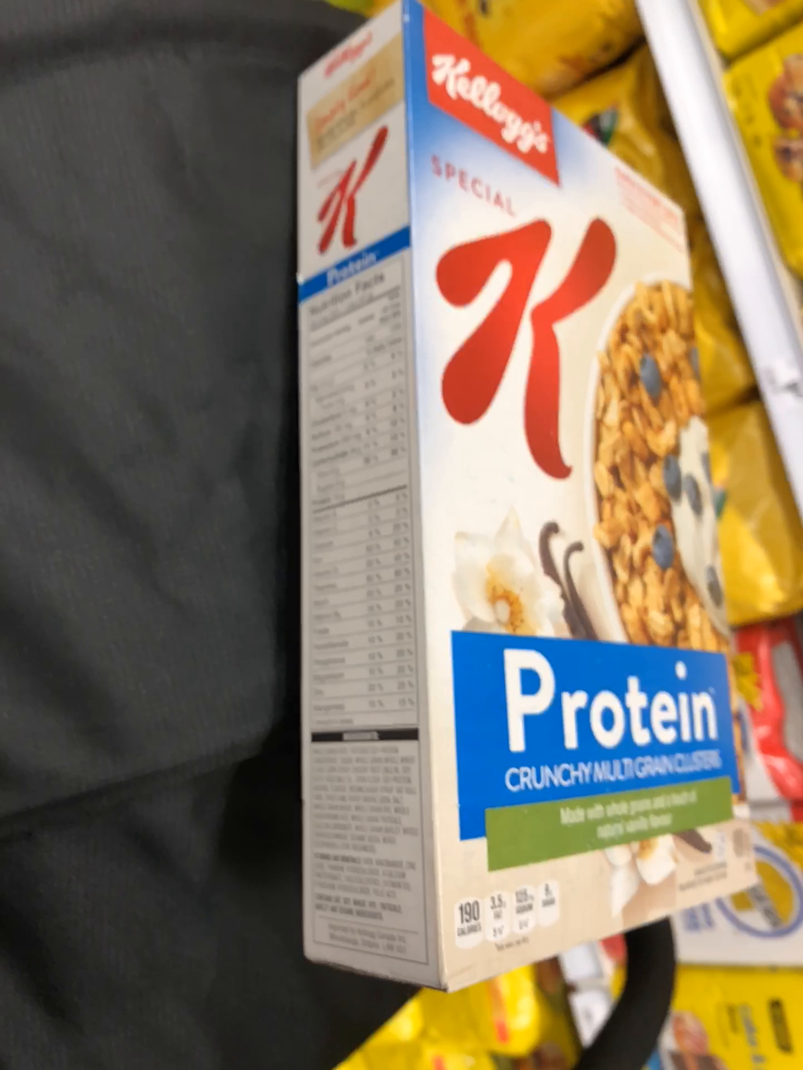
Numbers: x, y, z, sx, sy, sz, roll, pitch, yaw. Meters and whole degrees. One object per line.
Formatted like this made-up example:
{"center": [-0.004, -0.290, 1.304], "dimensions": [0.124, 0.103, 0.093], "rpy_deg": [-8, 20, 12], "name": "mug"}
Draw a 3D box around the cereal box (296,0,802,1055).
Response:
{"center": [0.058, -0.009, 0.297], "dimensions": [0.191, 0.050, 0.270], "rpy_deg": [11, 72, -44], "name": "cereal box"}
